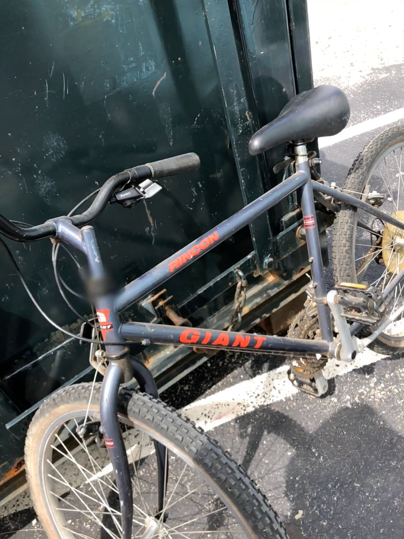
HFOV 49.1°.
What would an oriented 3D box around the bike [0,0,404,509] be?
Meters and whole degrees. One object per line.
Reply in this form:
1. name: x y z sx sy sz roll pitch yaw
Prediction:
1. bike: -0.087 -0.093 1.105 1.099 0.832 0.638 -28 43 -16
